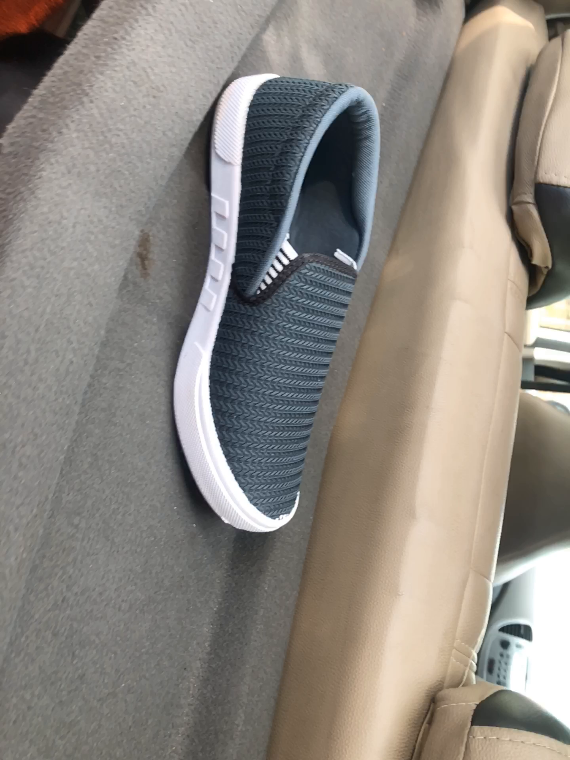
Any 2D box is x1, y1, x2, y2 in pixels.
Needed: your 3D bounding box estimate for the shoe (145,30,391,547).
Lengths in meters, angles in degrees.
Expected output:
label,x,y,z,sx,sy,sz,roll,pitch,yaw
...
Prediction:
label,x,y,z,sx,sy,sz,roll,pitch,yaw
shoe,-0.004,-0.051,0.387,0.081,0.089,0.280,20,76,-63
